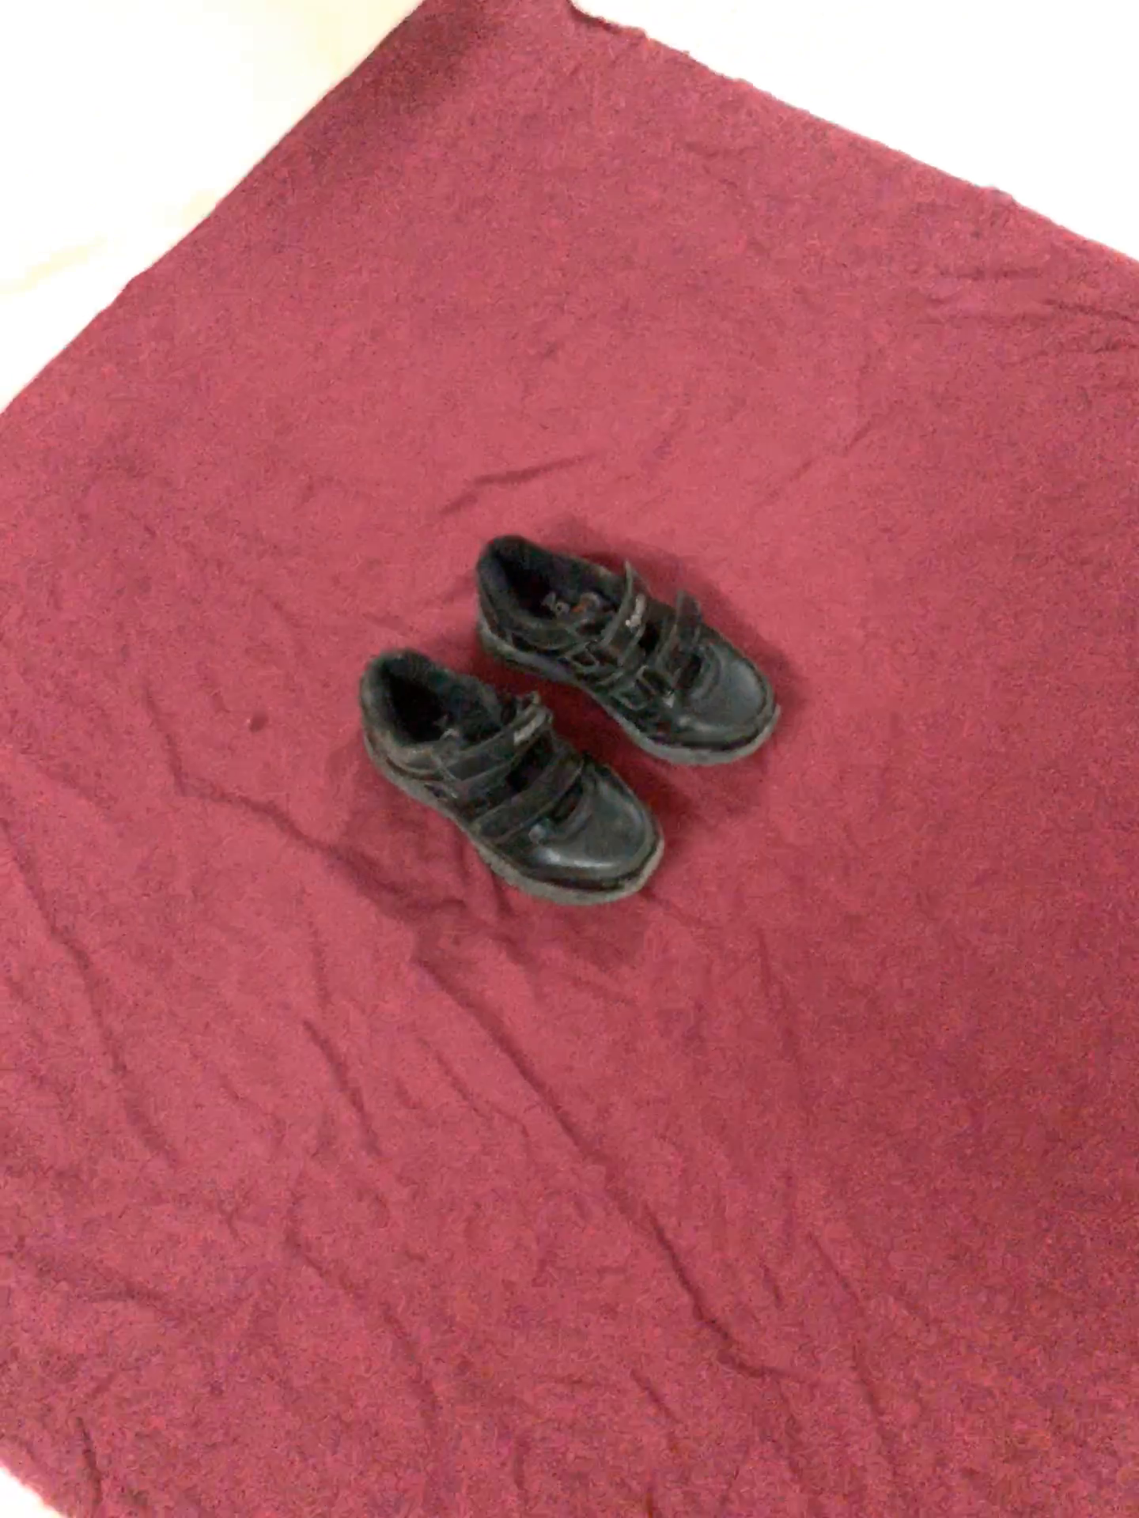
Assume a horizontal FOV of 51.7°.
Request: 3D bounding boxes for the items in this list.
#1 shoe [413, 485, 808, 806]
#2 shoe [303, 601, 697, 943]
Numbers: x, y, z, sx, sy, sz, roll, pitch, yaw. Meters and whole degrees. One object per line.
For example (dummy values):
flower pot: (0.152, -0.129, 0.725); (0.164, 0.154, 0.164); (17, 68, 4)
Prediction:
shoe: (0.021, -0.065, 0.673); (0.210, 0.070, 0.070); (31, 74, 12)
shoe: (-0.038, 0.007, 0.657); (0.210, 0.070, 0.070); (34, 75, 13)
